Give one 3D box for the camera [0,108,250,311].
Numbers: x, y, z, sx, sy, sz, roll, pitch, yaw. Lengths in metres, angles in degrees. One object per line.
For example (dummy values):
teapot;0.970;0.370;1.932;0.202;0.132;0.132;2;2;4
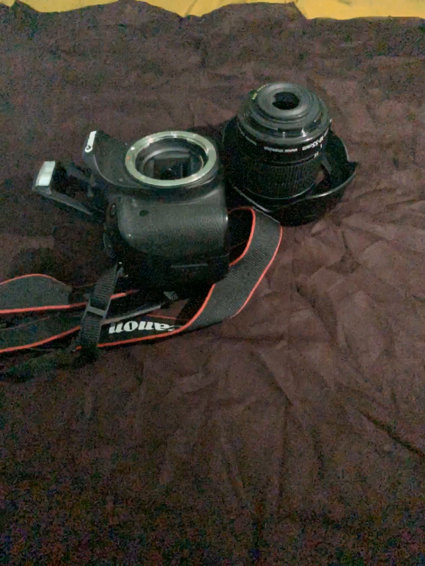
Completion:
camera;-0.057;-0.063;0.345;0.150;0.082;0.147;-2;47;-3
